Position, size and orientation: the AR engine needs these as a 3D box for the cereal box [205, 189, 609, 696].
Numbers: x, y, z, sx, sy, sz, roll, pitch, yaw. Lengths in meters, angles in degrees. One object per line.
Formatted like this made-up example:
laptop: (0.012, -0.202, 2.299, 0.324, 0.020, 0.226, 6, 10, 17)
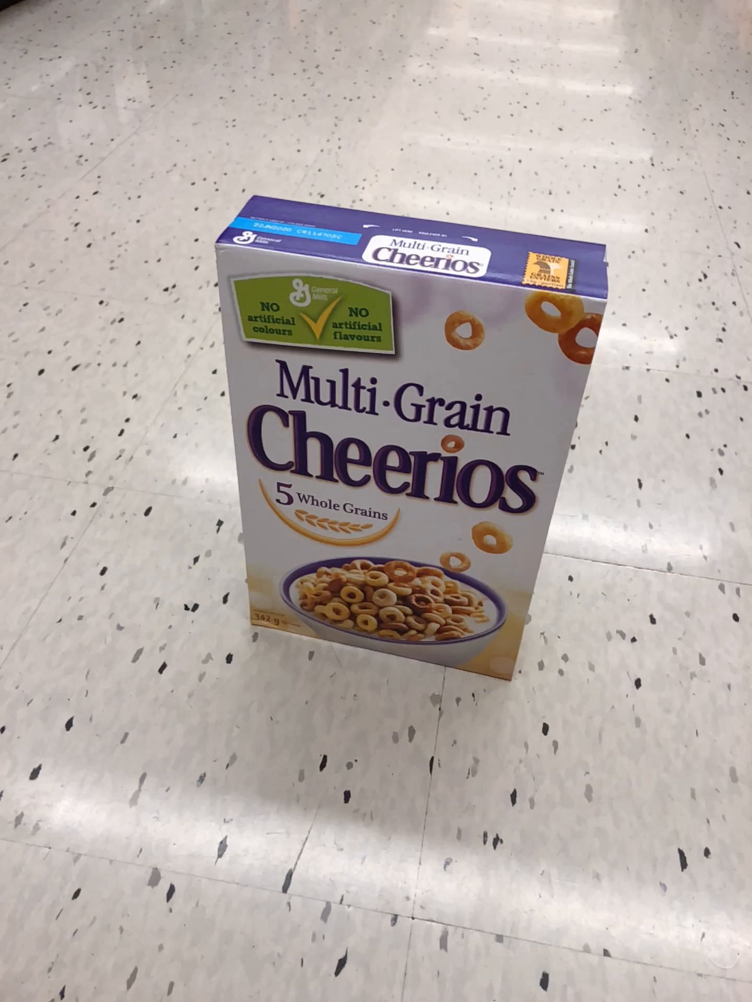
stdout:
cereal box: (0.010, -0.015, 0.508, 0.190, 0.308, 0.060, 10, 42, 7)
